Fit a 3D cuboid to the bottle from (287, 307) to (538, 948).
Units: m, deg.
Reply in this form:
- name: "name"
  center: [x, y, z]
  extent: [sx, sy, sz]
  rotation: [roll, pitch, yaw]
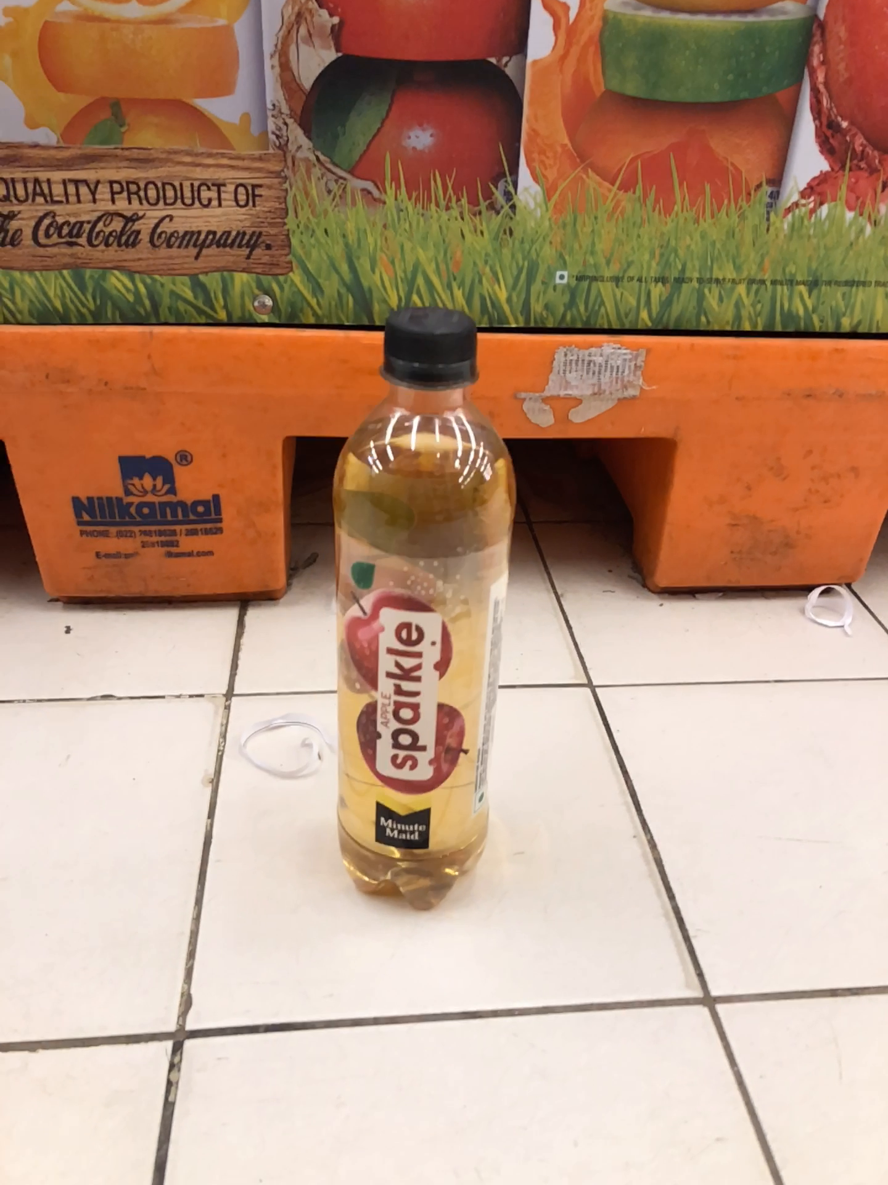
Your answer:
- name: "bottle"
  center: [-0.011, 0.022, 0.377]
  extent: [0.070, 0.238, 0.070]
  rotation: [2, 30, -1]
